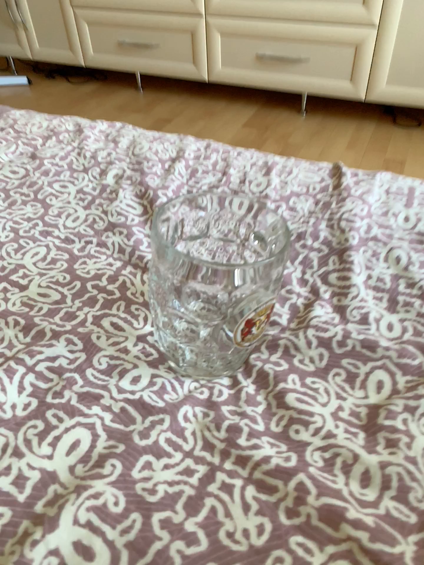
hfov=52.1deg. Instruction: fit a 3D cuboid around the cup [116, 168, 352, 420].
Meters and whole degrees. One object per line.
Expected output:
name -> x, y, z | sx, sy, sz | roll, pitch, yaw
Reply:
cup -> 0.013, 0.000, 0.298 | 0.093, 0.099, 0.118 | 32, 46, 28
